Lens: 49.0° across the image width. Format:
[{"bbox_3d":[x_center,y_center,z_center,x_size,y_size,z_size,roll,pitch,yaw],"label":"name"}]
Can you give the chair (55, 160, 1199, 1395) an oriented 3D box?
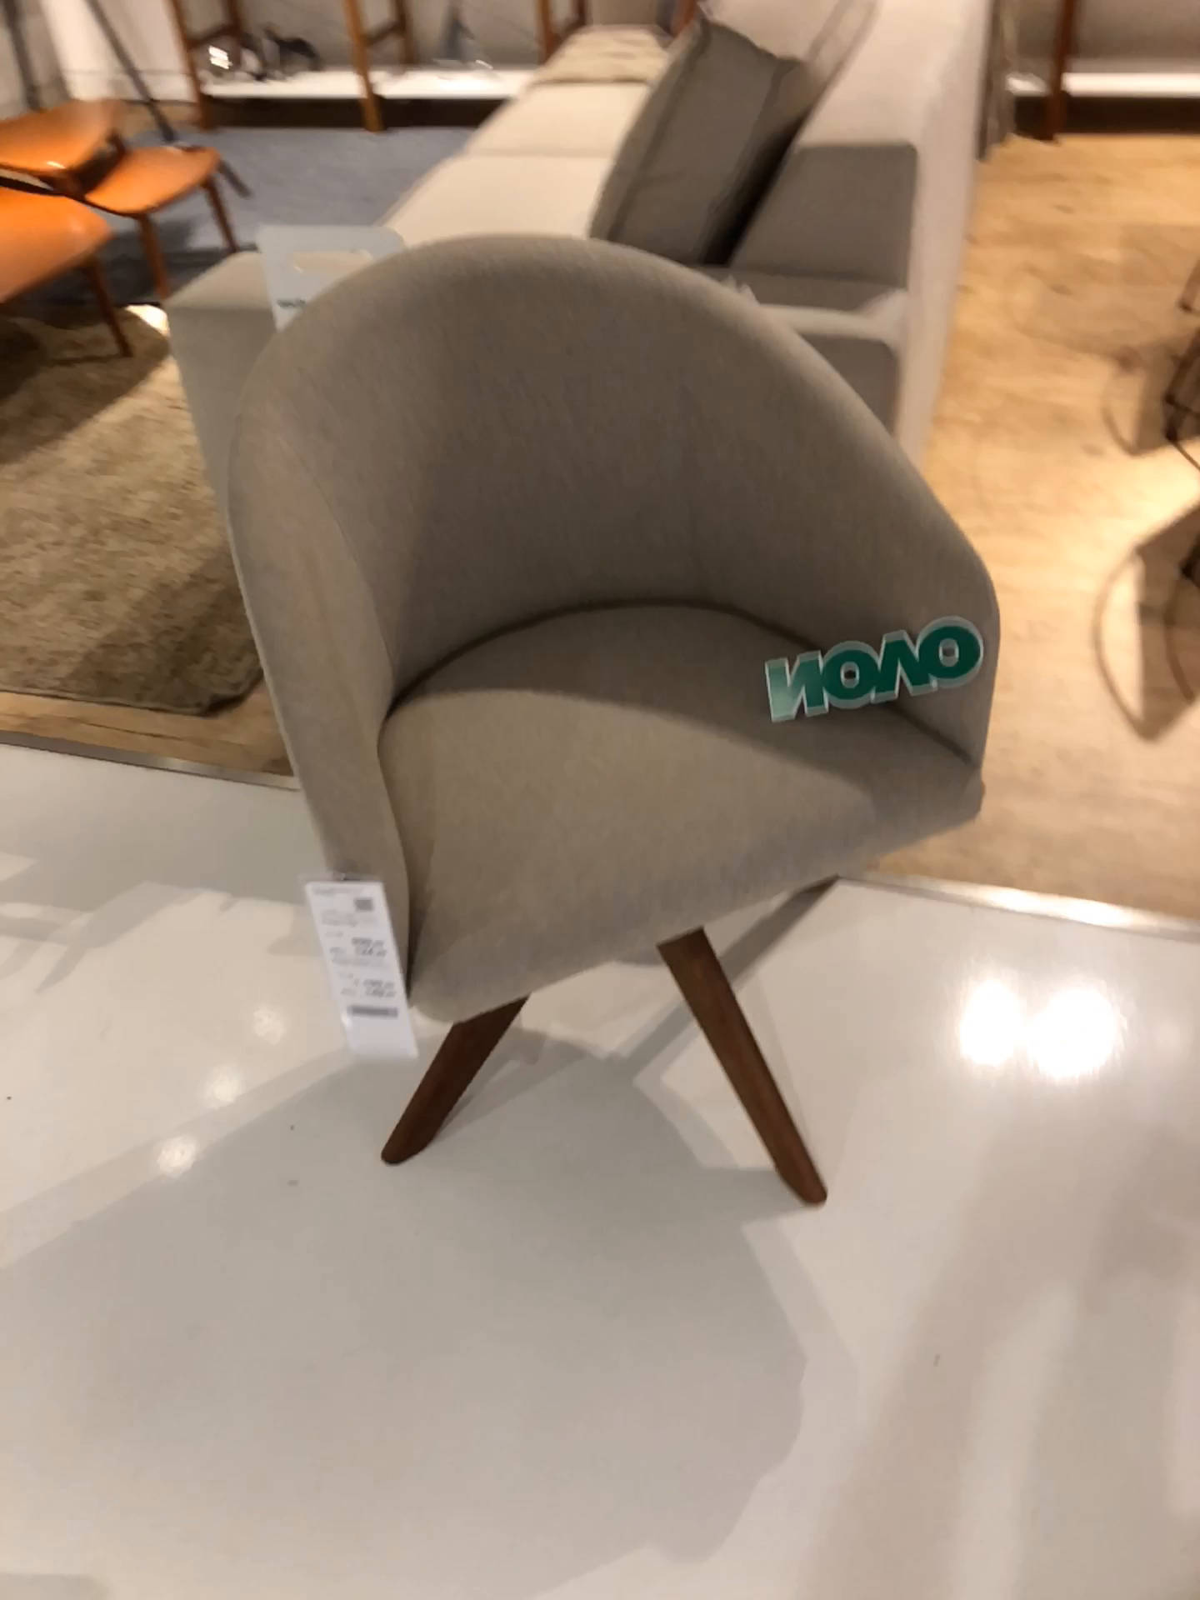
[{"bbox_3d":[-0.015,-0.058,1.312,0.691,0.794,0.715,-19,43,-14],"label":"chair"}]
